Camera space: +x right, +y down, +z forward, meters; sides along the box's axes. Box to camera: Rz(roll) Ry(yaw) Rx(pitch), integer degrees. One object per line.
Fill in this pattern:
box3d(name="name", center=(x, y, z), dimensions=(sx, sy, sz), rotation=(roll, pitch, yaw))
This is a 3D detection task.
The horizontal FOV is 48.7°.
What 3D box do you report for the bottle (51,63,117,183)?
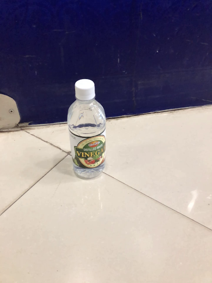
box3d(name="bottle", center=(-0.036, -0.025, 0.408), dimensions=(0.080, 0.189, 0.070), rotation=(-13, 44, -16))
